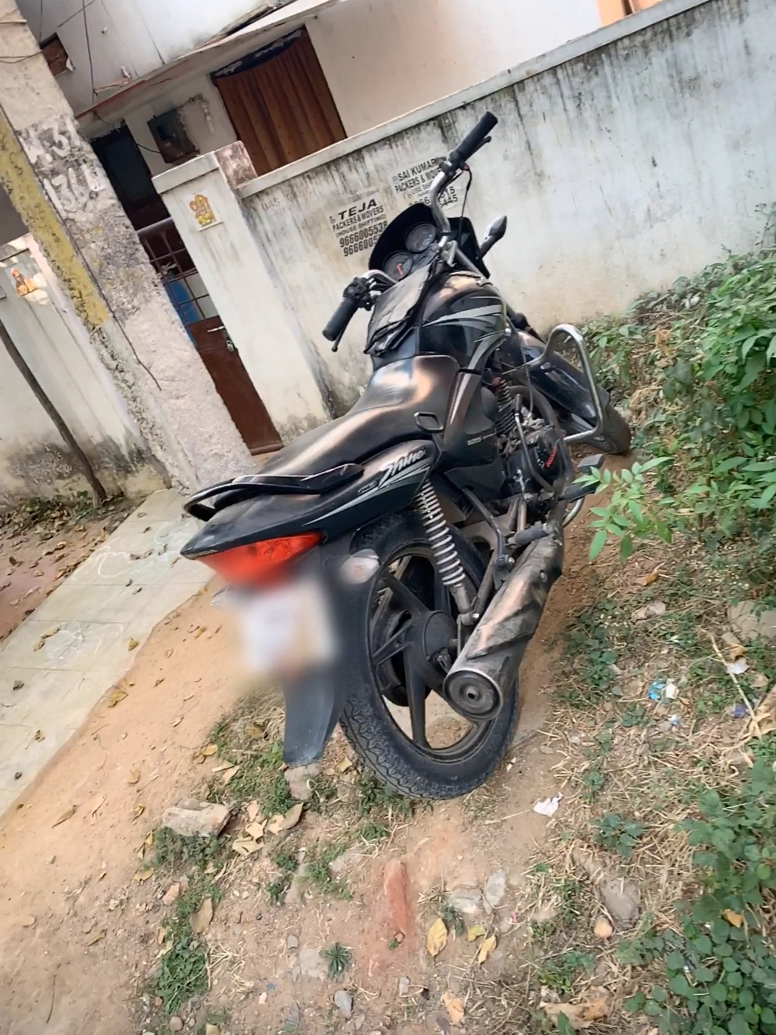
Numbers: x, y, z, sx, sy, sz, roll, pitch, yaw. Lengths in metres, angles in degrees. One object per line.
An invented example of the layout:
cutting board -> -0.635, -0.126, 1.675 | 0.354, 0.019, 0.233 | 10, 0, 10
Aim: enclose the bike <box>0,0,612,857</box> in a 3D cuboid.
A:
bike -> -0.036, -0.275, 1.730 | 0.735, 1.101, 1.244 | -9, 39, 28
